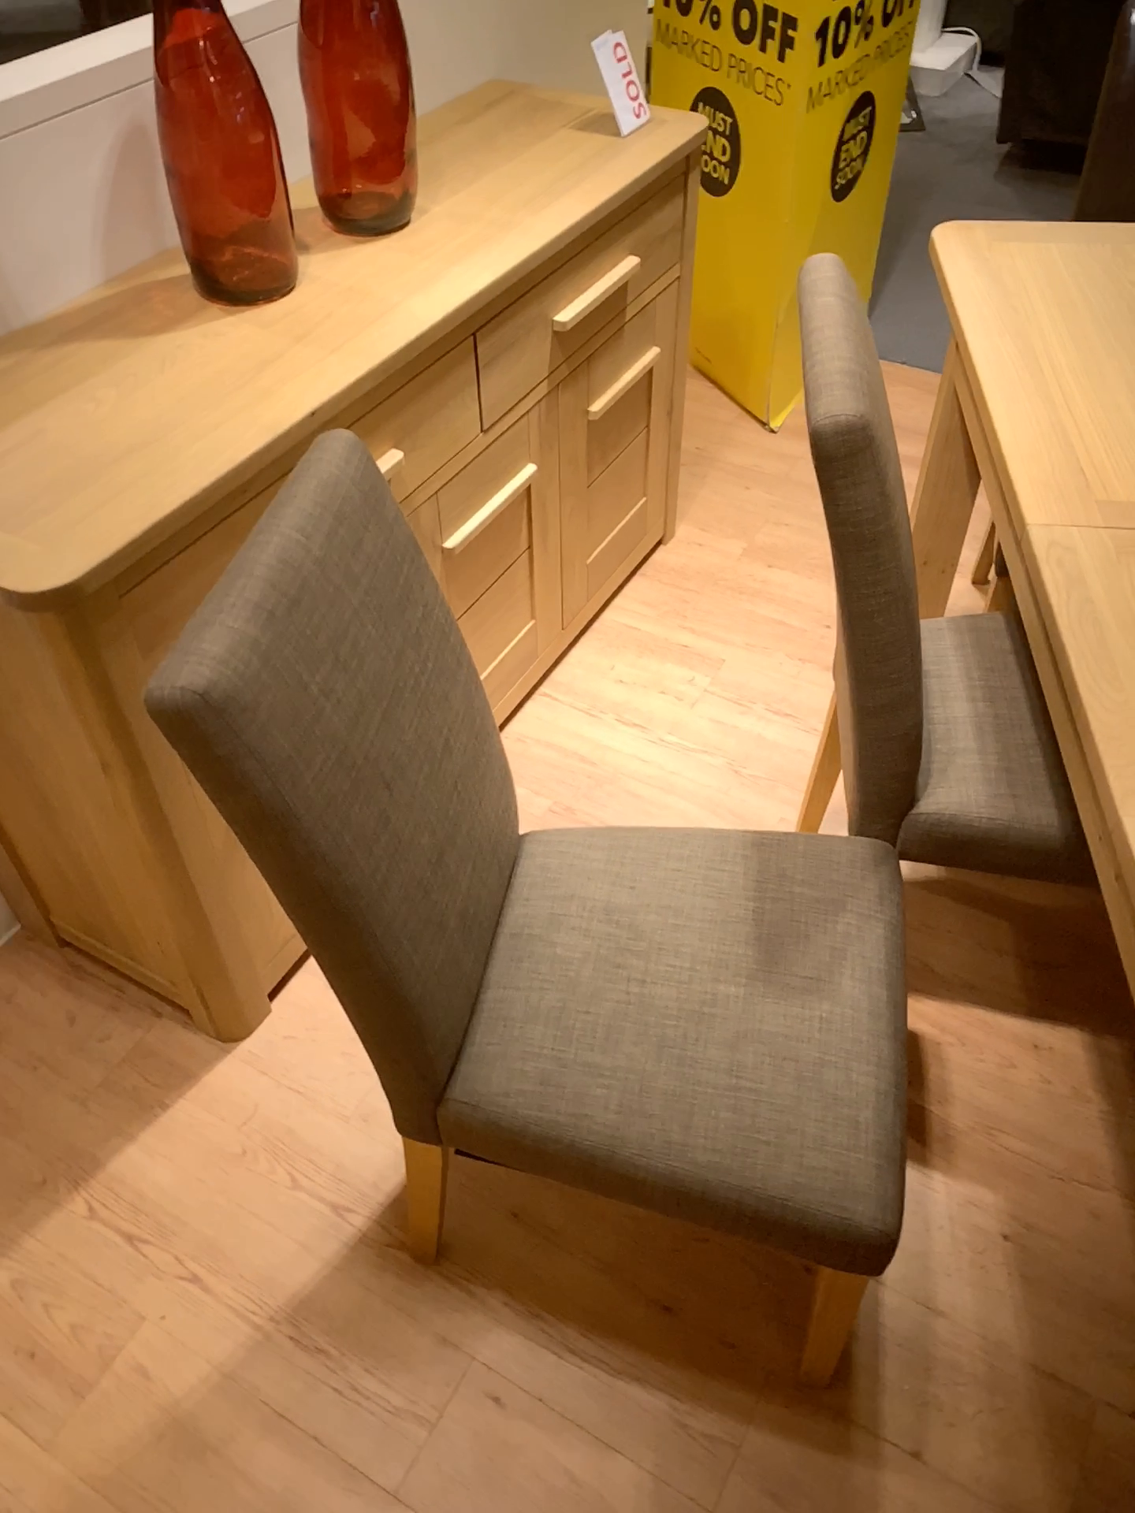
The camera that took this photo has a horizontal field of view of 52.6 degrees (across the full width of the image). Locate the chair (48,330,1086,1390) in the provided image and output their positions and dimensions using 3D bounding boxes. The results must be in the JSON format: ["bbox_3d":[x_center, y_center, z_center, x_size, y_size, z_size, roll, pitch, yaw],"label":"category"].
[{"bbox_3d":[0.036,0.160,1.167,0.610,0.951,0.494,8,46,9],"label":"chair"}]
